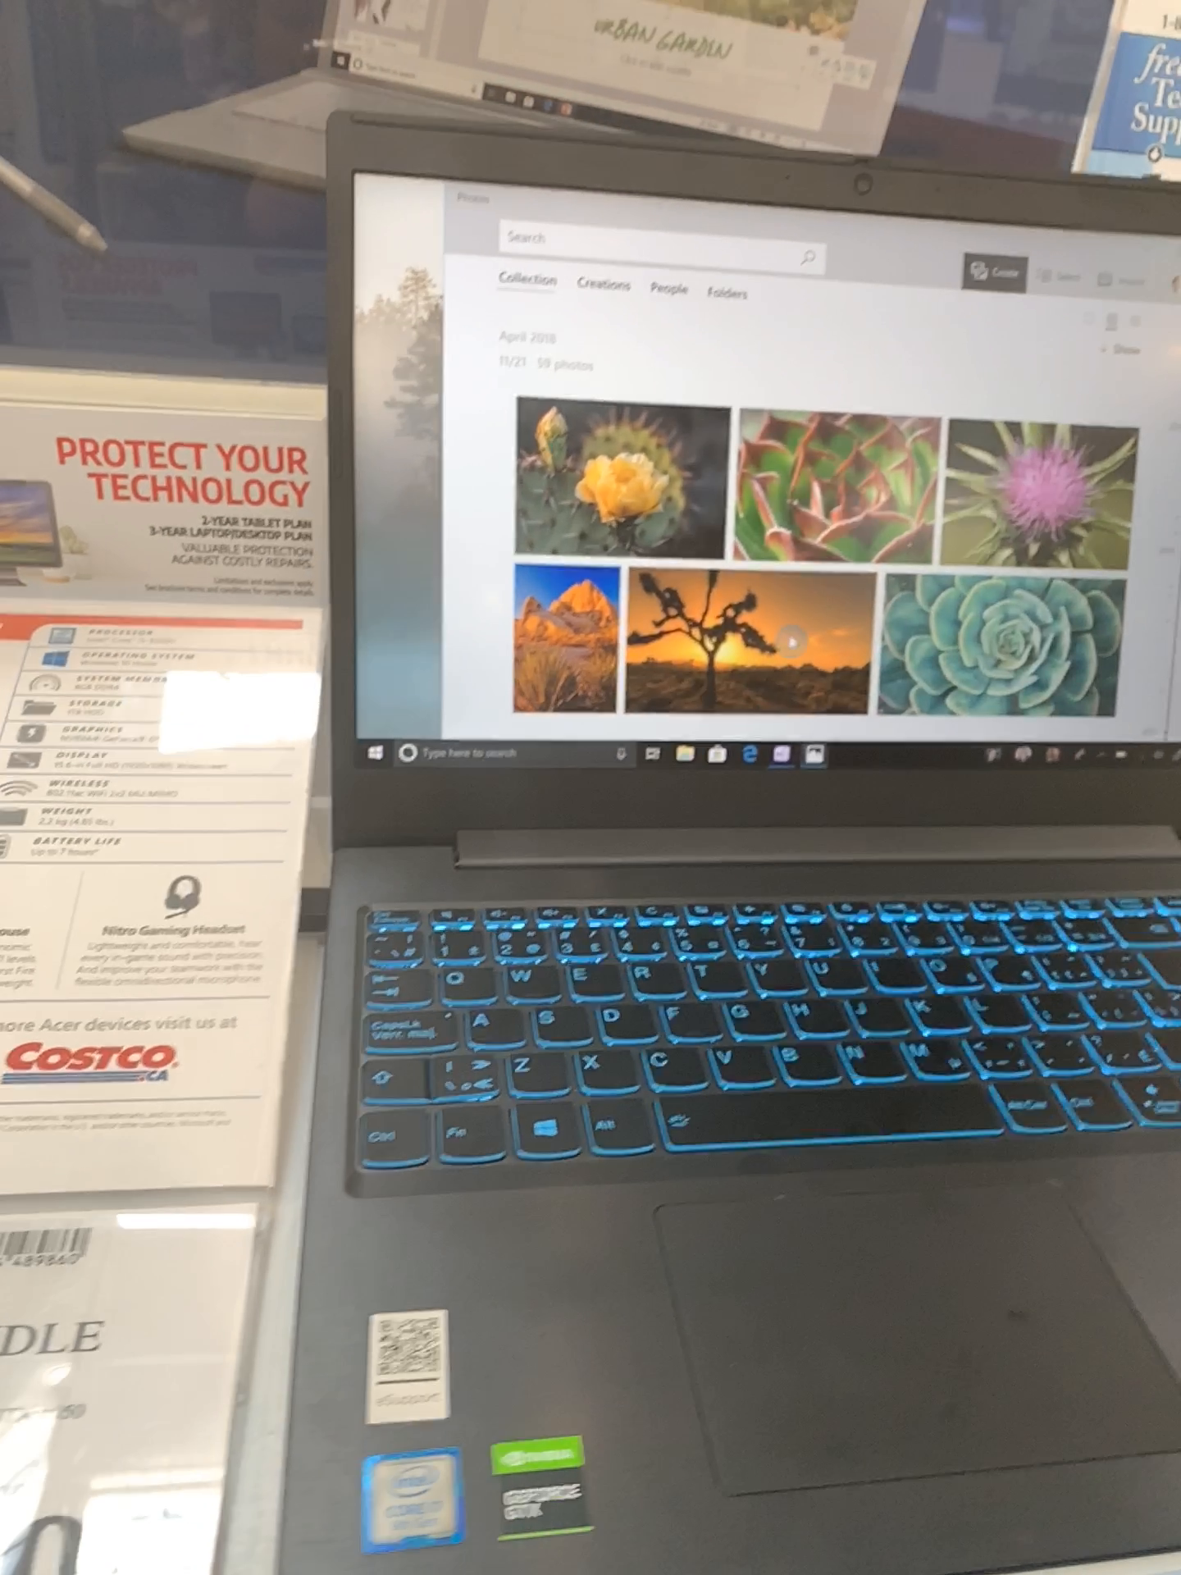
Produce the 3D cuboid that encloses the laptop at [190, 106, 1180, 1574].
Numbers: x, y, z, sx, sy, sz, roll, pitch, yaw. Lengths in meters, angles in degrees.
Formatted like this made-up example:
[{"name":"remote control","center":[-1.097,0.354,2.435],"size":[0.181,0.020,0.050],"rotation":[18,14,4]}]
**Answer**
[{"name":"laptop","center":[0.100,-0.034,0.324],"size":[0.340,0.214,0.330],"rotation":[0,30,-11]}]
